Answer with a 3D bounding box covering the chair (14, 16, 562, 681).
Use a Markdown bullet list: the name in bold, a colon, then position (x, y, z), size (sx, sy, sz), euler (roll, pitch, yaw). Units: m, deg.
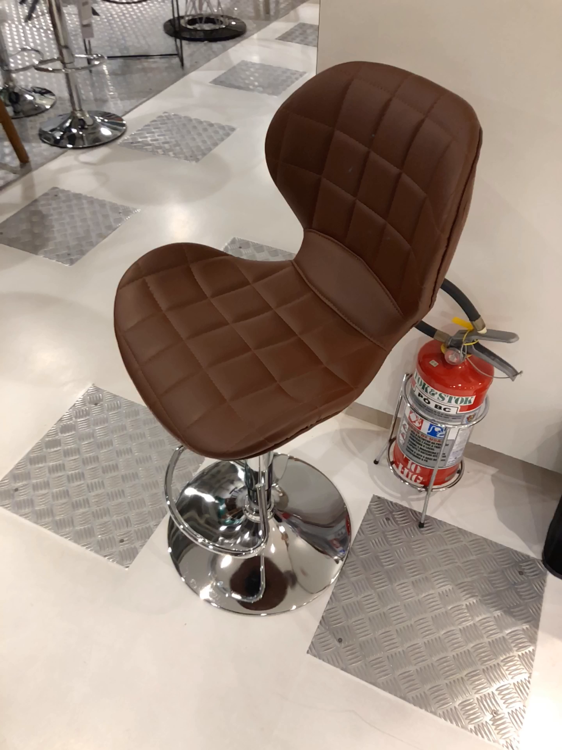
- **chair**: position (-0.039, -0.007, 1.071), size (0.491, 0.923, 0.543), euler (-17, 48, -18)
